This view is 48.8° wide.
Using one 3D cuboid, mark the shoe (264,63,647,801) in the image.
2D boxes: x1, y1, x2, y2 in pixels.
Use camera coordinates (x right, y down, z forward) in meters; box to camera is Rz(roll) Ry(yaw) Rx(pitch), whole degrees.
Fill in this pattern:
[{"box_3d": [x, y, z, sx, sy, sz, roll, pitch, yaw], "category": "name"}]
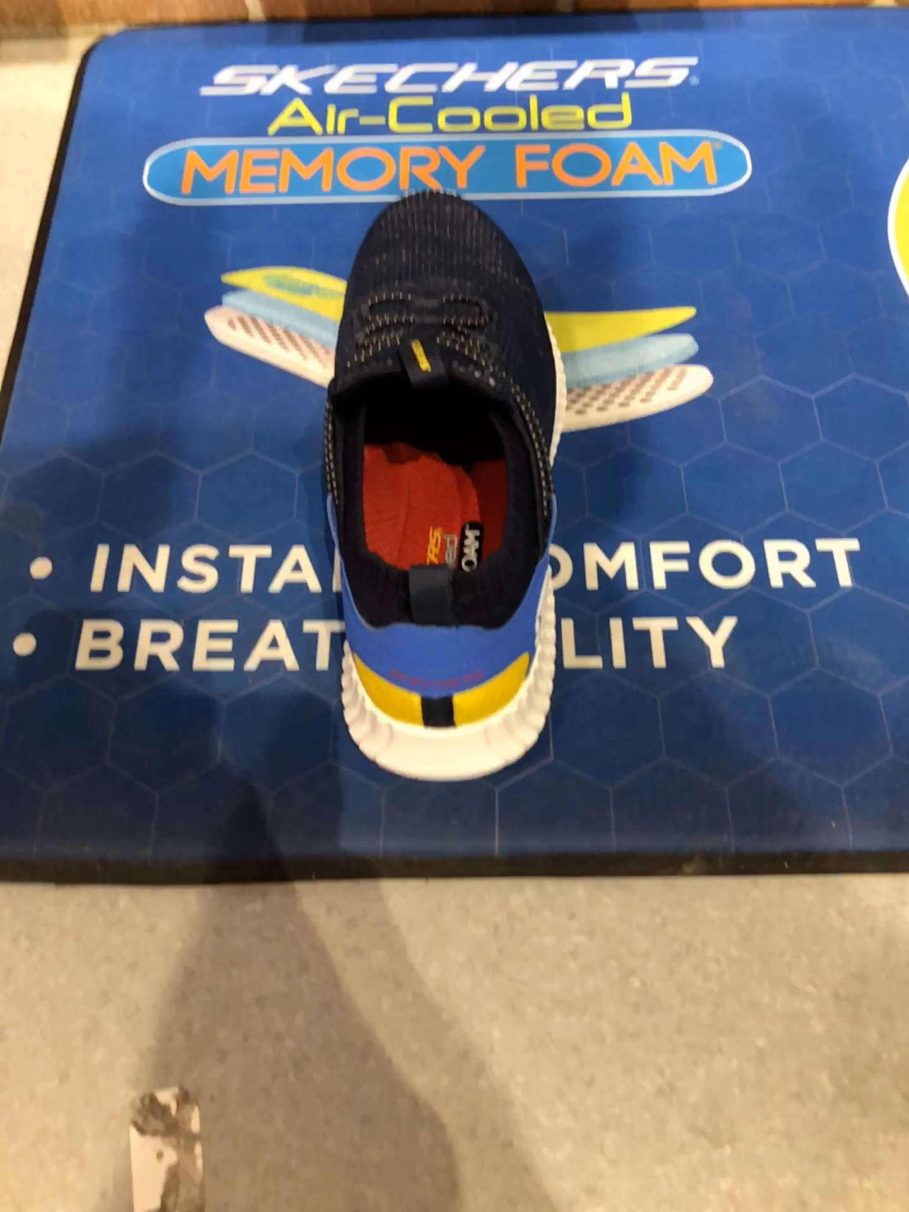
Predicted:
[{"box_3d": [-0.005, -0.077, 0.401, 0.111, 0.103, 0.281, -3, 63, 0], "category": "shoe"}]
